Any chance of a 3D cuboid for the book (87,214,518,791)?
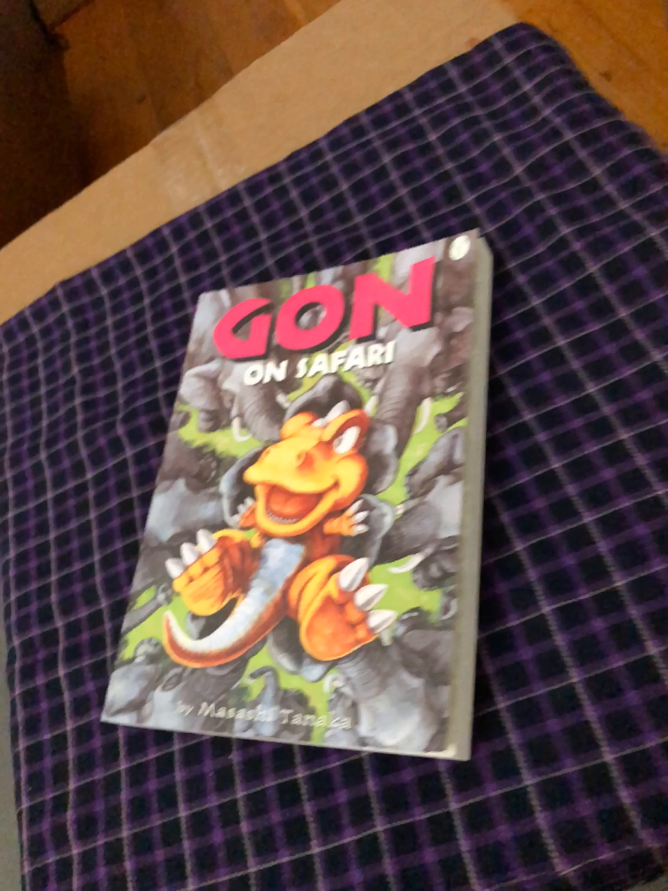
[{"bbox_3d":[-0.007,0.012,0.296,0.150,0.020,0.210,-5,62,26],"label":"book"}]
